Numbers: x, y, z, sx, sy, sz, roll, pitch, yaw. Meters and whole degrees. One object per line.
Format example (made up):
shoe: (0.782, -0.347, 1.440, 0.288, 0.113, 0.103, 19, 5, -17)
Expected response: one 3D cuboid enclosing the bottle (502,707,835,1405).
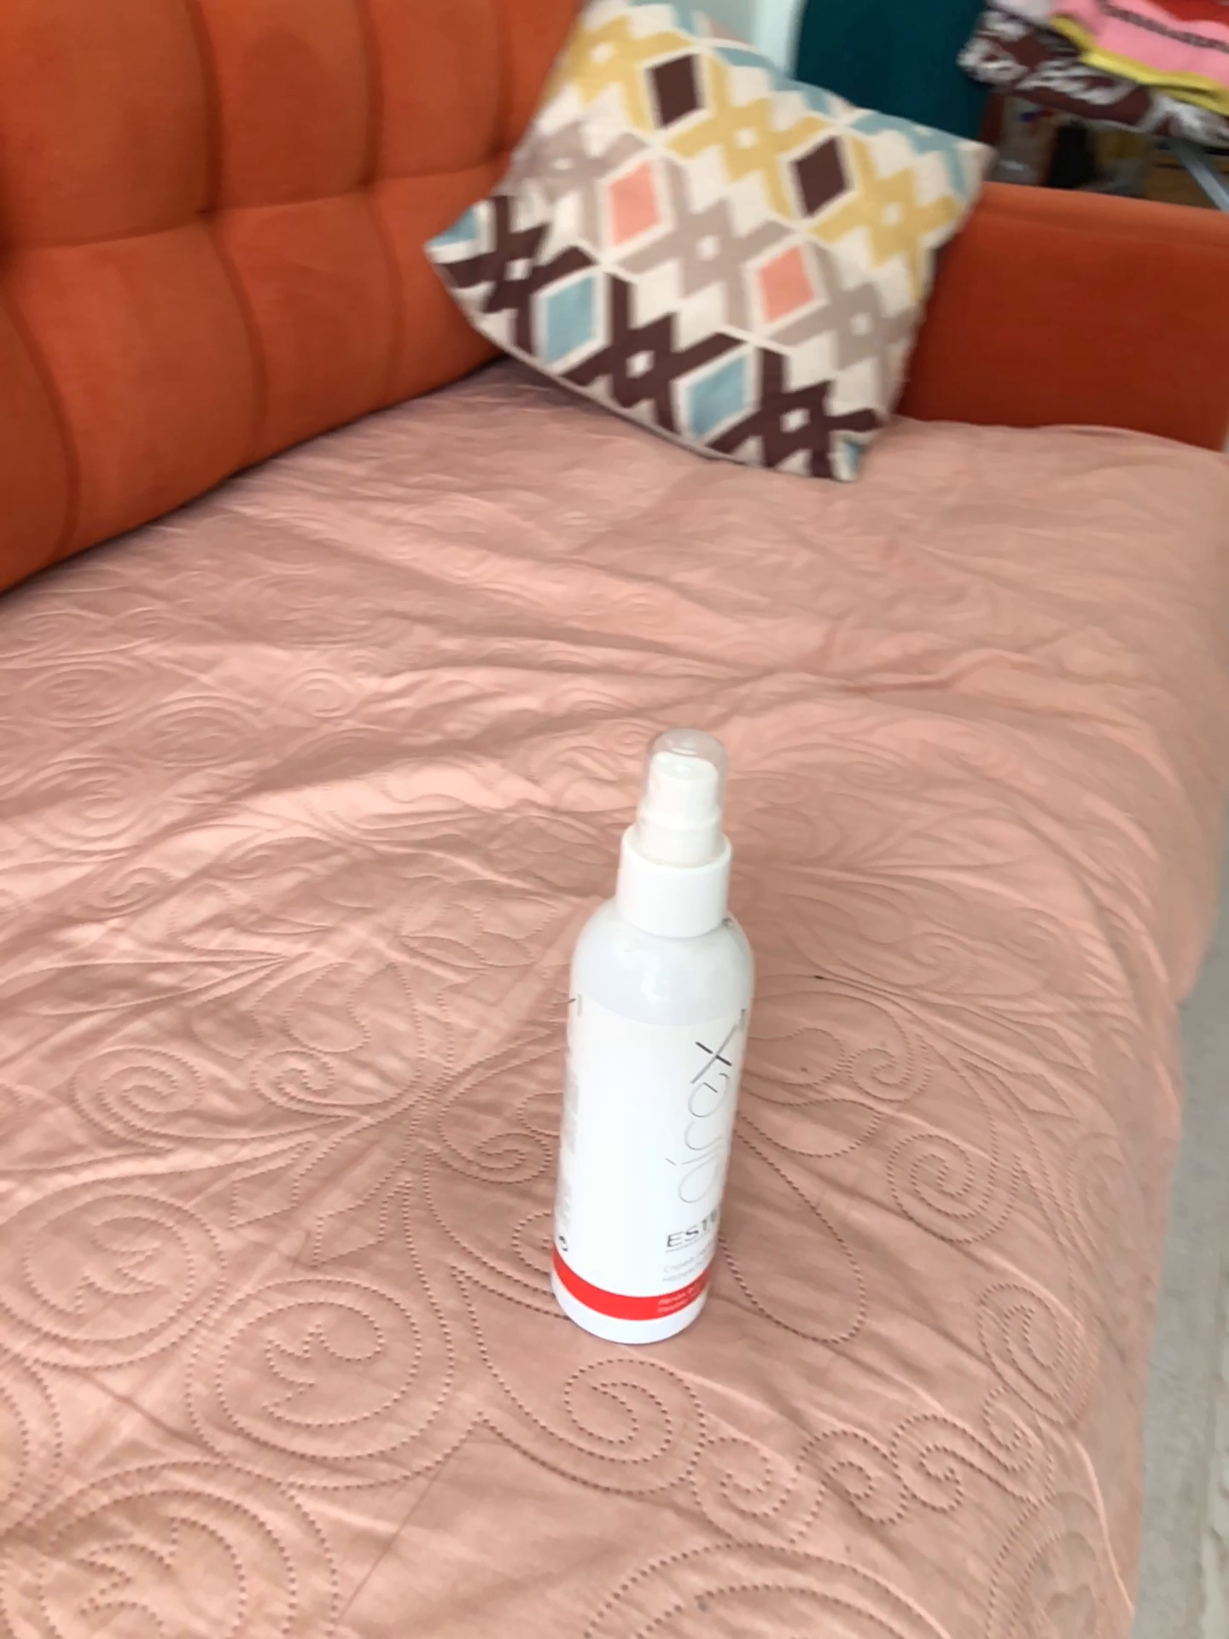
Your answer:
bottle: (0.009, 0.063, 0.343, 0.050, 0.169, 0.050, 3, 31, -2)
